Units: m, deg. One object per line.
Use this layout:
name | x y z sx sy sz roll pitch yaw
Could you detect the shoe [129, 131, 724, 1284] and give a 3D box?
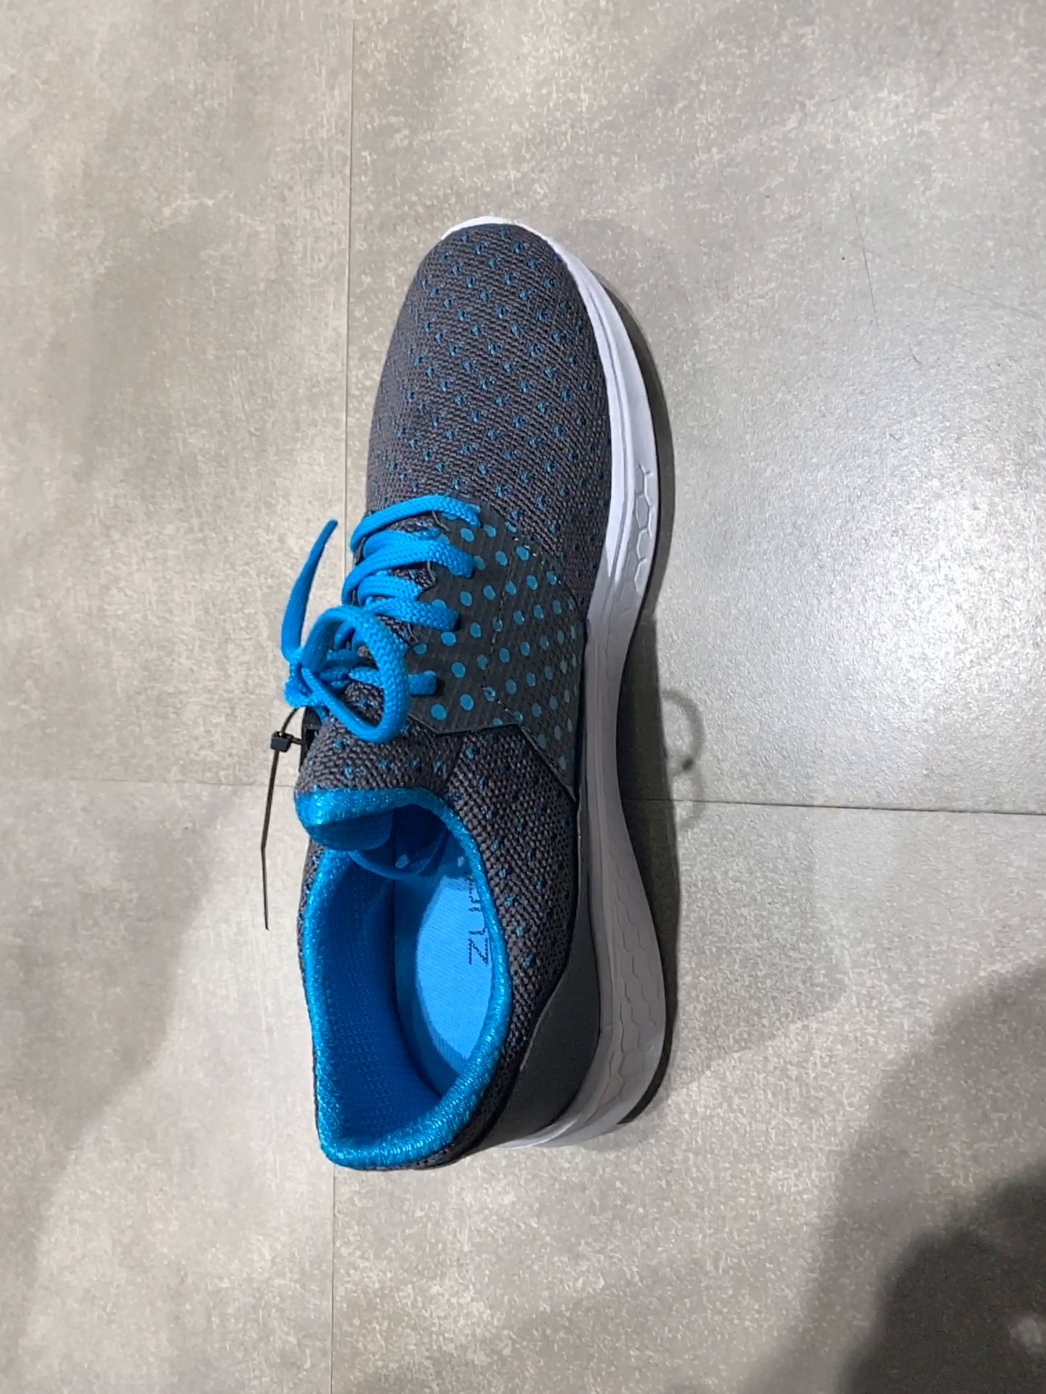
shoe | -0.023 0.004 0.280 0.103 0.101 0.227 -7 84 28
